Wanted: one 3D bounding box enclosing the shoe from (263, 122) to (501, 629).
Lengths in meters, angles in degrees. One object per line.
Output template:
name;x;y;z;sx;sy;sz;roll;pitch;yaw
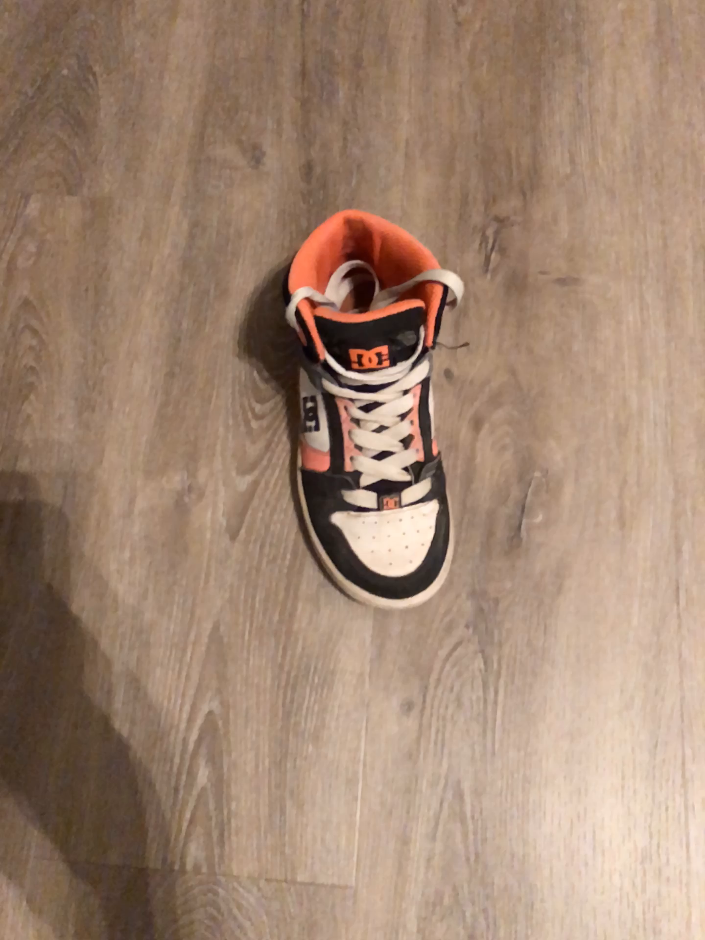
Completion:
shoe;0.011;-0.043;0.441;0.090;0.140;0.240;-5;74;0
